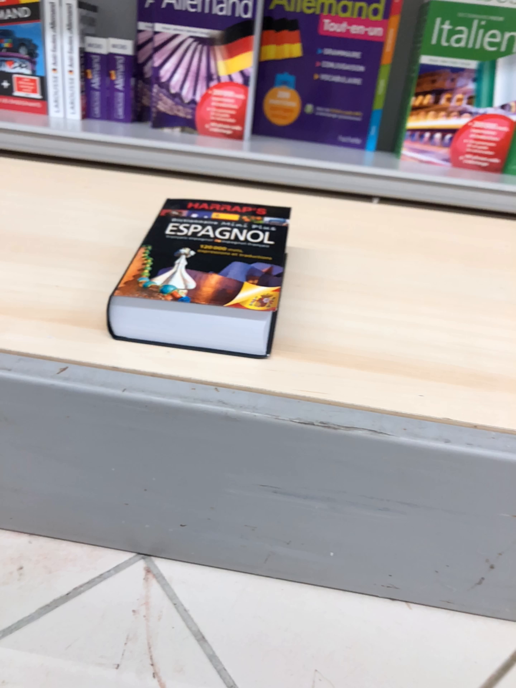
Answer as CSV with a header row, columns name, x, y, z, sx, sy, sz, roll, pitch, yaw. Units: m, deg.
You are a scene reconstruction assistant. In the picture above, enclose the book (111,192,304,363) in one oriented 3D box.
name,x,y,z,sx,sy,sz,roll,pitch,yaw
book,-0.026,-0.054,0.399,0.103,0.038,0.146,7,38,4
